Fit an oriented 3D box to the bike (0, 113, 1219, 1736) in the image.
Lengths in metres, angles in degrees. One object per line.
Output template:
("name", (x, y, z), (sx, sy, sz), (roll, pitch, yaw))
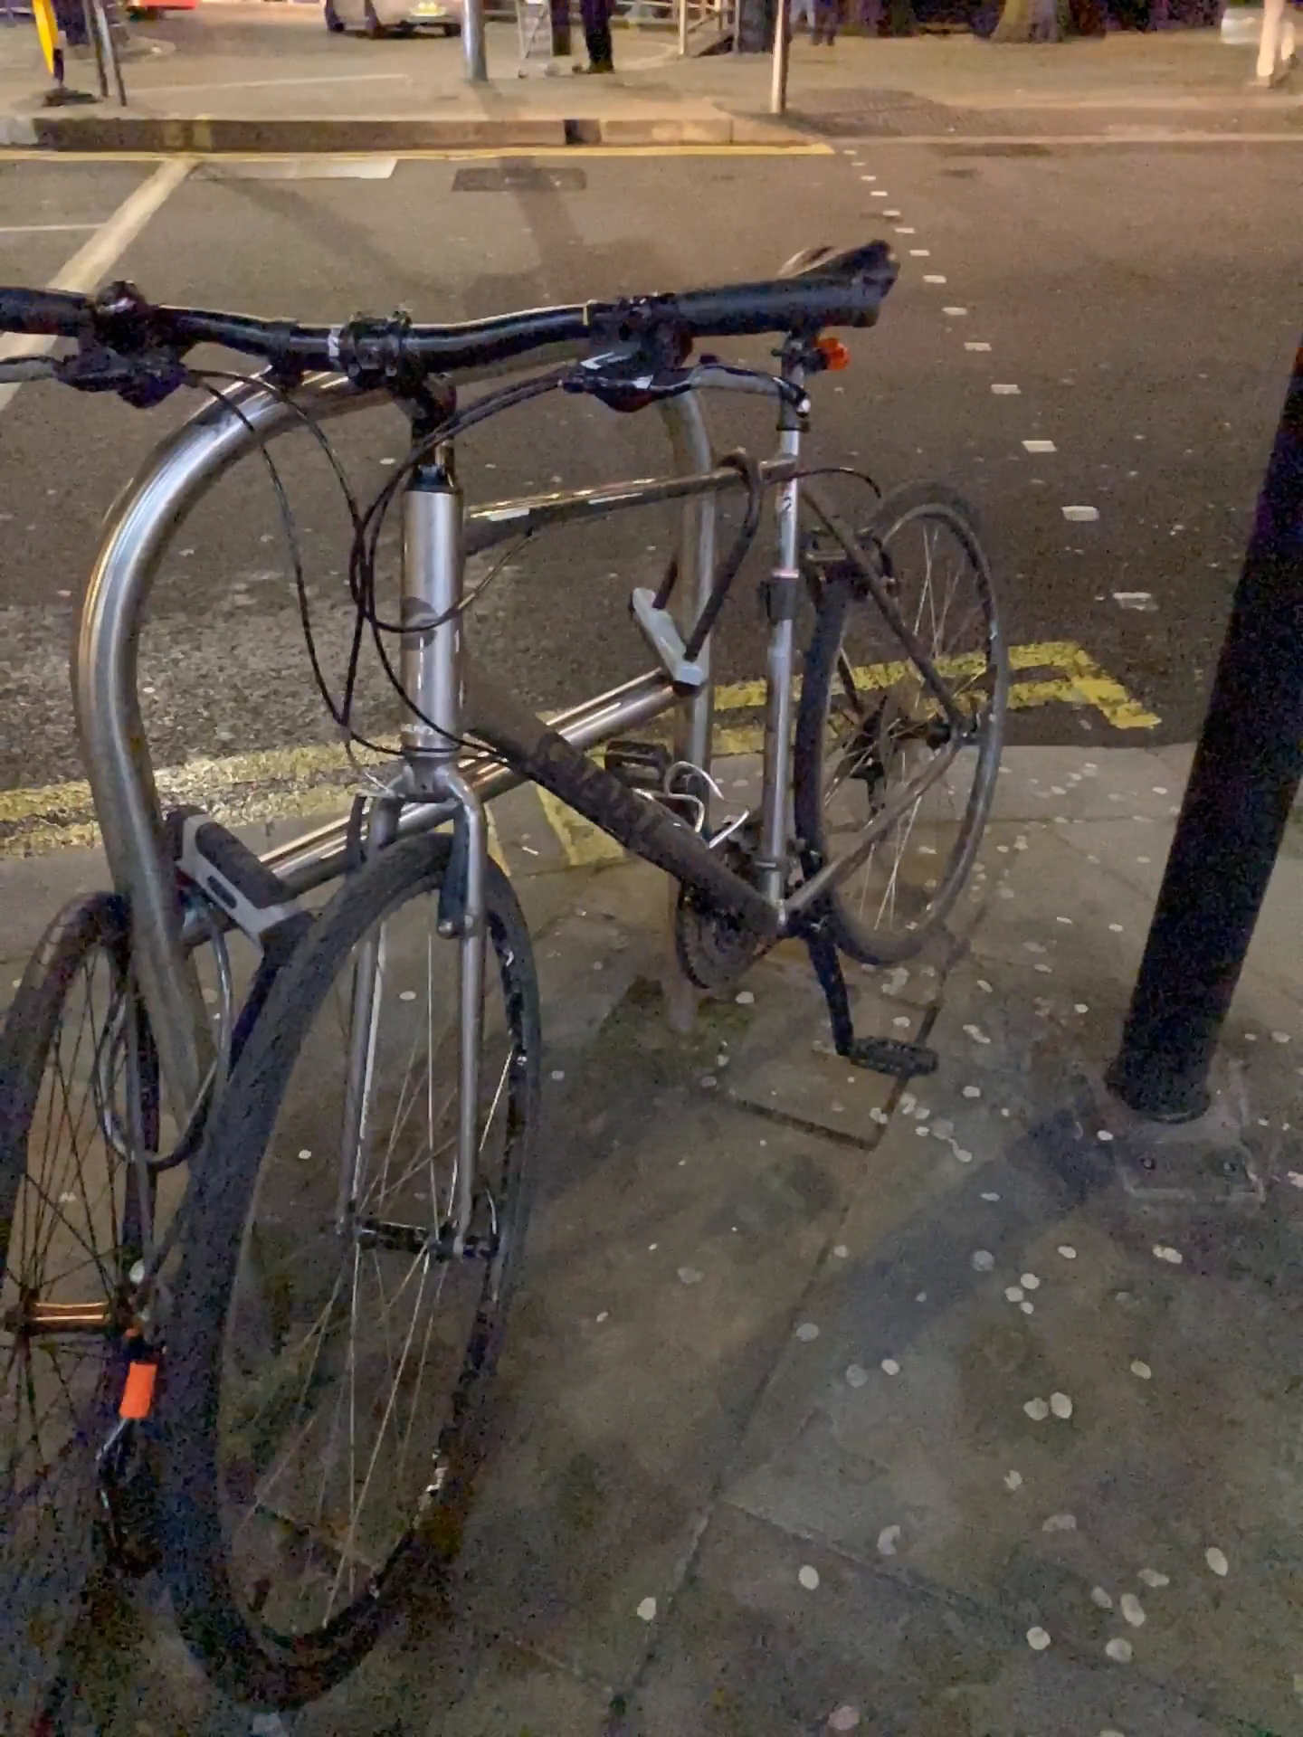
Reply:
("bike", (-0.012, -0.147, 1.502), (0.709, 1.124, 1.828), (17, 37, 24))
